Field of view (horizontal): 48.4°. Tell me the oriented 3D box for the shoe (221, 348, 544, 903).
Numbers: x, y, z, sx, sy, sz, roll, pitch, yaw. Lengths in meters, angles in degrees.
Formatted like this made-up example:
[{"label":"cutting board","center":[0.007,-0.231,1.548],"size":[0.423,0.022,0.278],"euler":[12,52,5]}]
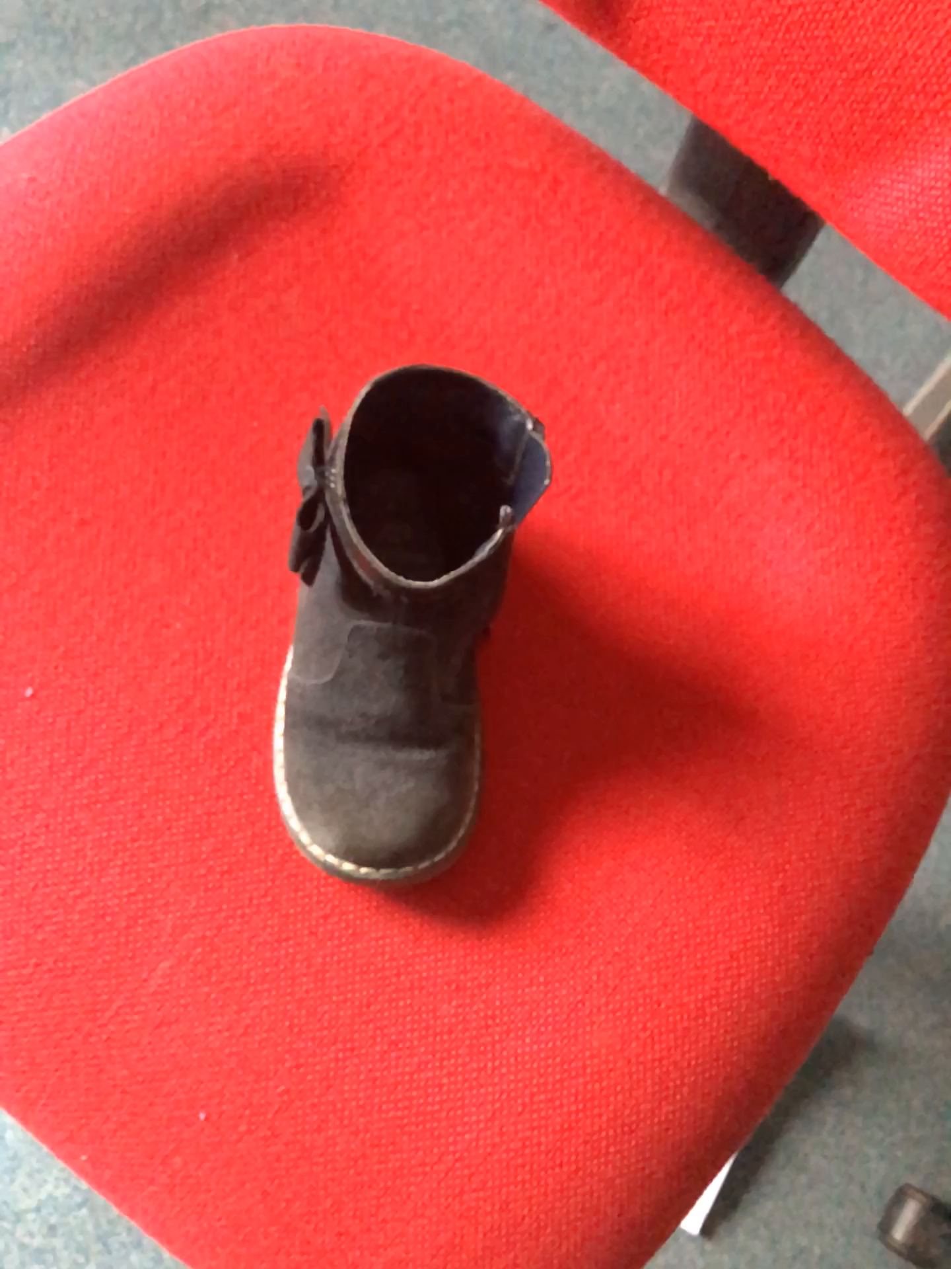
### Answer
[{"label":"shoe","center":[-0.026,0.004,0.334],"size":[0.080,0.100,0.150],"euler":[2,78,-3]}]
